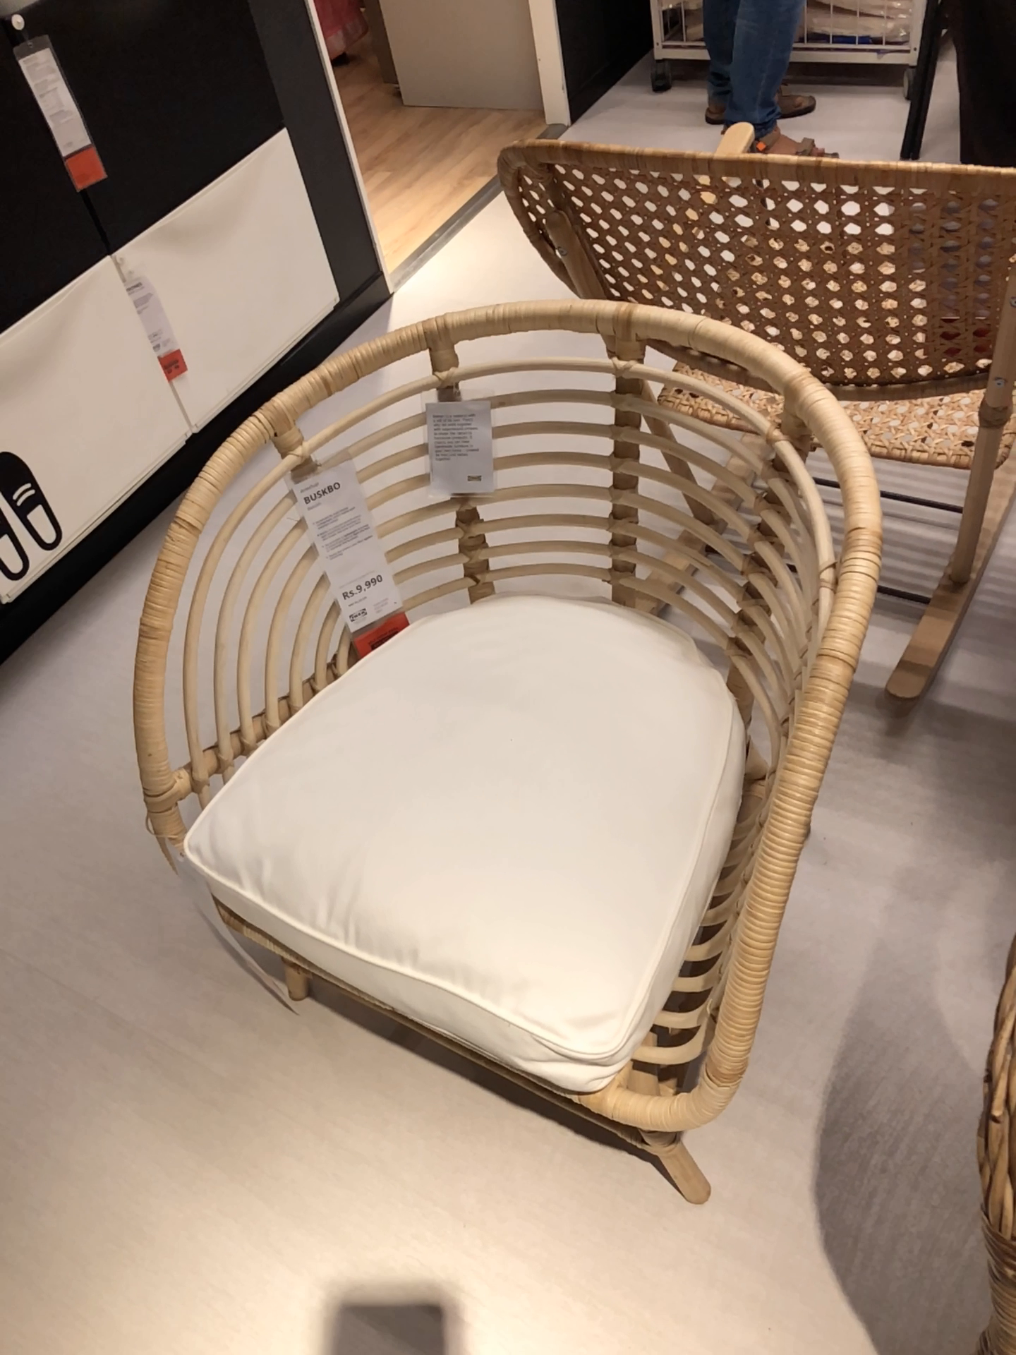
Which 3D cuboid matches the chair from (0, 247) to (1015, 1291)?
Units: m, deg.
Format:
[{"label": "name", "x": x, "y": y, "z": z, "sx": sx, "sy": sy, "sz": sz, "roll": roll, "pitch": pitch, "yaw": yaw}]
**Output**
[{"label": "chair", "x": 0.056, "y": 0.066, "z": 1.319, "sx": 0.782, "sy": 0.775, "sz": 0.702, "roll": 19, "pitch": 54, "yaw": 29}]
